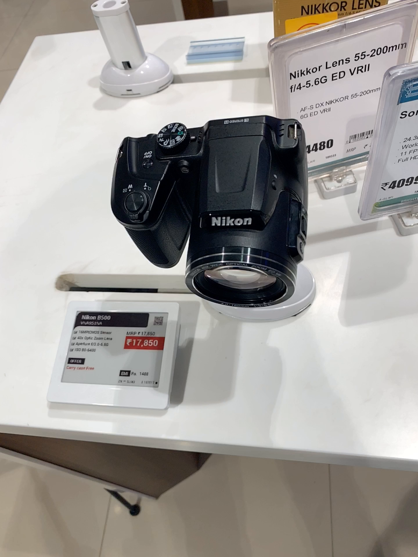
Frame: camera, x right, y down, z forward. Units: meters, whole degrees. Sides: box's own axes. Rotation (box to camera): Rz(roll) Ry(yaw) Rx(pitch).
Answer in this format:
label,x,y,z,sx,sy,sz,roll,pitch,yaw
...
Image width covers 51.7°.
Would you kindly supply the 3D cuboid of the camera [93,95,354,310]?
label,x,y,z,sx,sy,sz,roll,pitch,yaw
camera,0.013,-0.036,0.232,0.113,0.070,0.083,1,65,11
